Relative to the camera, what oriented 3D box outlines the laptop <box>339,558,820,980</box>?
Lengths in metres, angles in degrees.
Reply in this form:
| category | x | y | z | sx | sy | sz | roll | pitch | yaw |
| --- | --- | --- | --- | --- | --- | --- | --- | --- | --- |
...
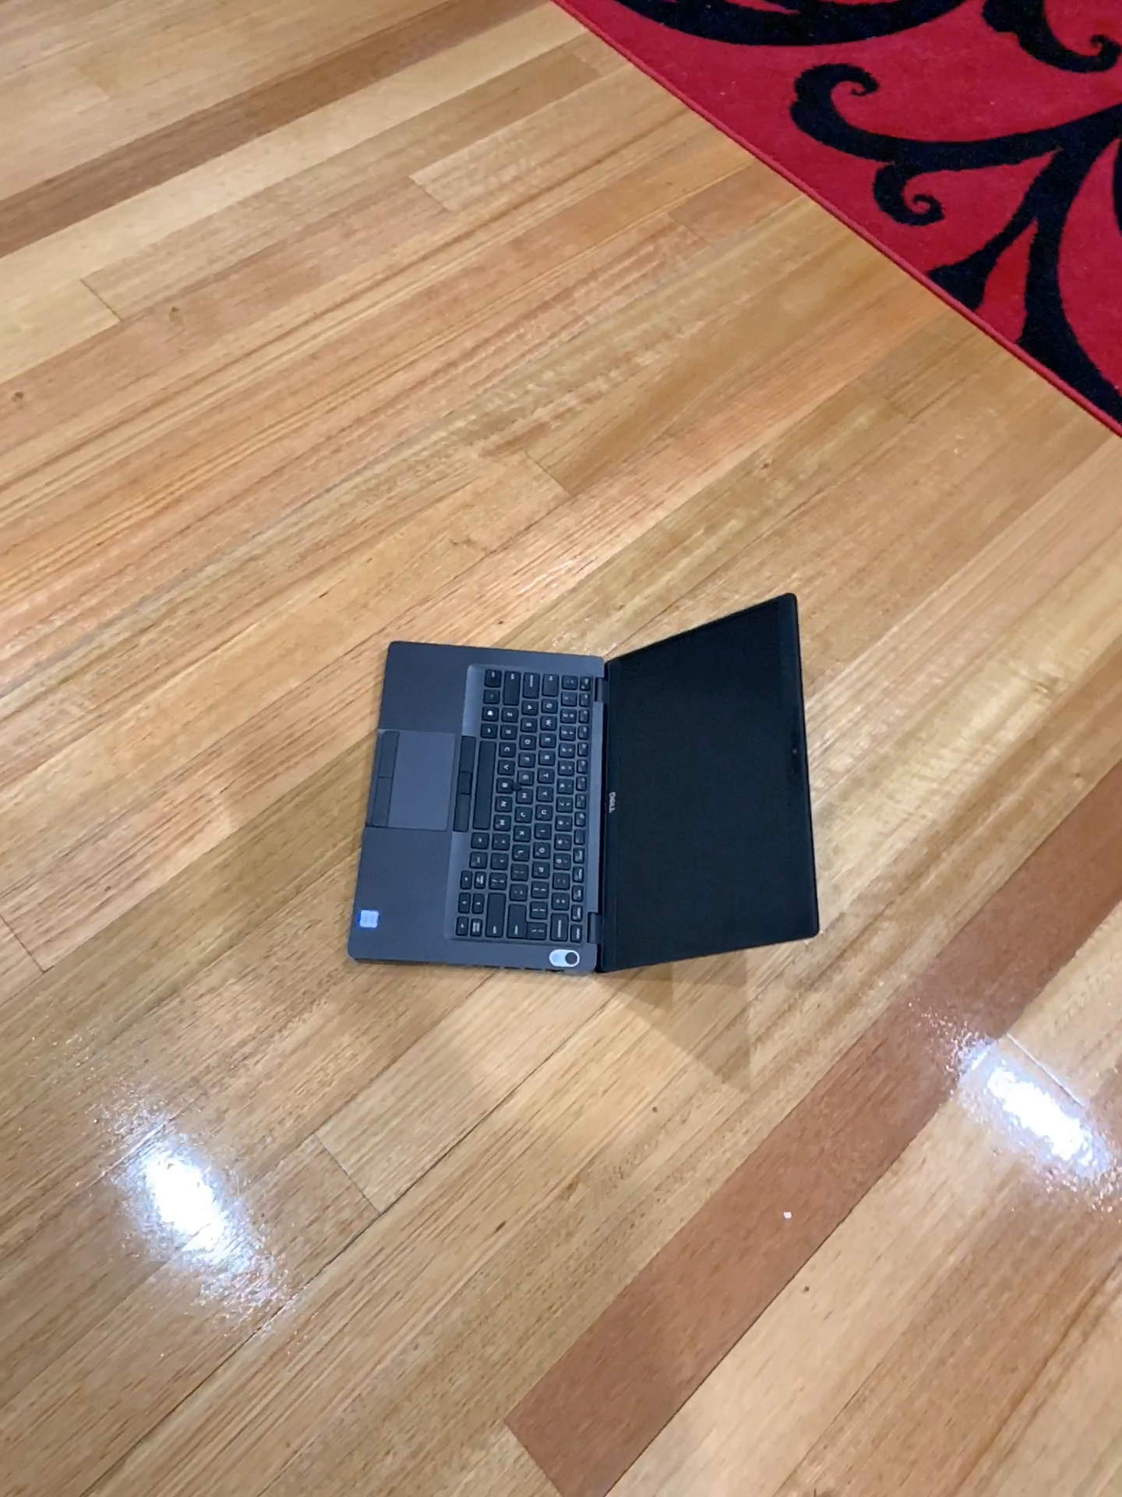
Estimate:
| category | x | y | z | sx | sy | sz | roll | pitch | yaw |
| --- | --- | --- | --- | --- | --- | --- | --- | --- | --- |
| laptop | 0.016 | 0.017 | 1.012 | 0.372 | 0.134 | 0.321 | 4 | 63 | -3 |
